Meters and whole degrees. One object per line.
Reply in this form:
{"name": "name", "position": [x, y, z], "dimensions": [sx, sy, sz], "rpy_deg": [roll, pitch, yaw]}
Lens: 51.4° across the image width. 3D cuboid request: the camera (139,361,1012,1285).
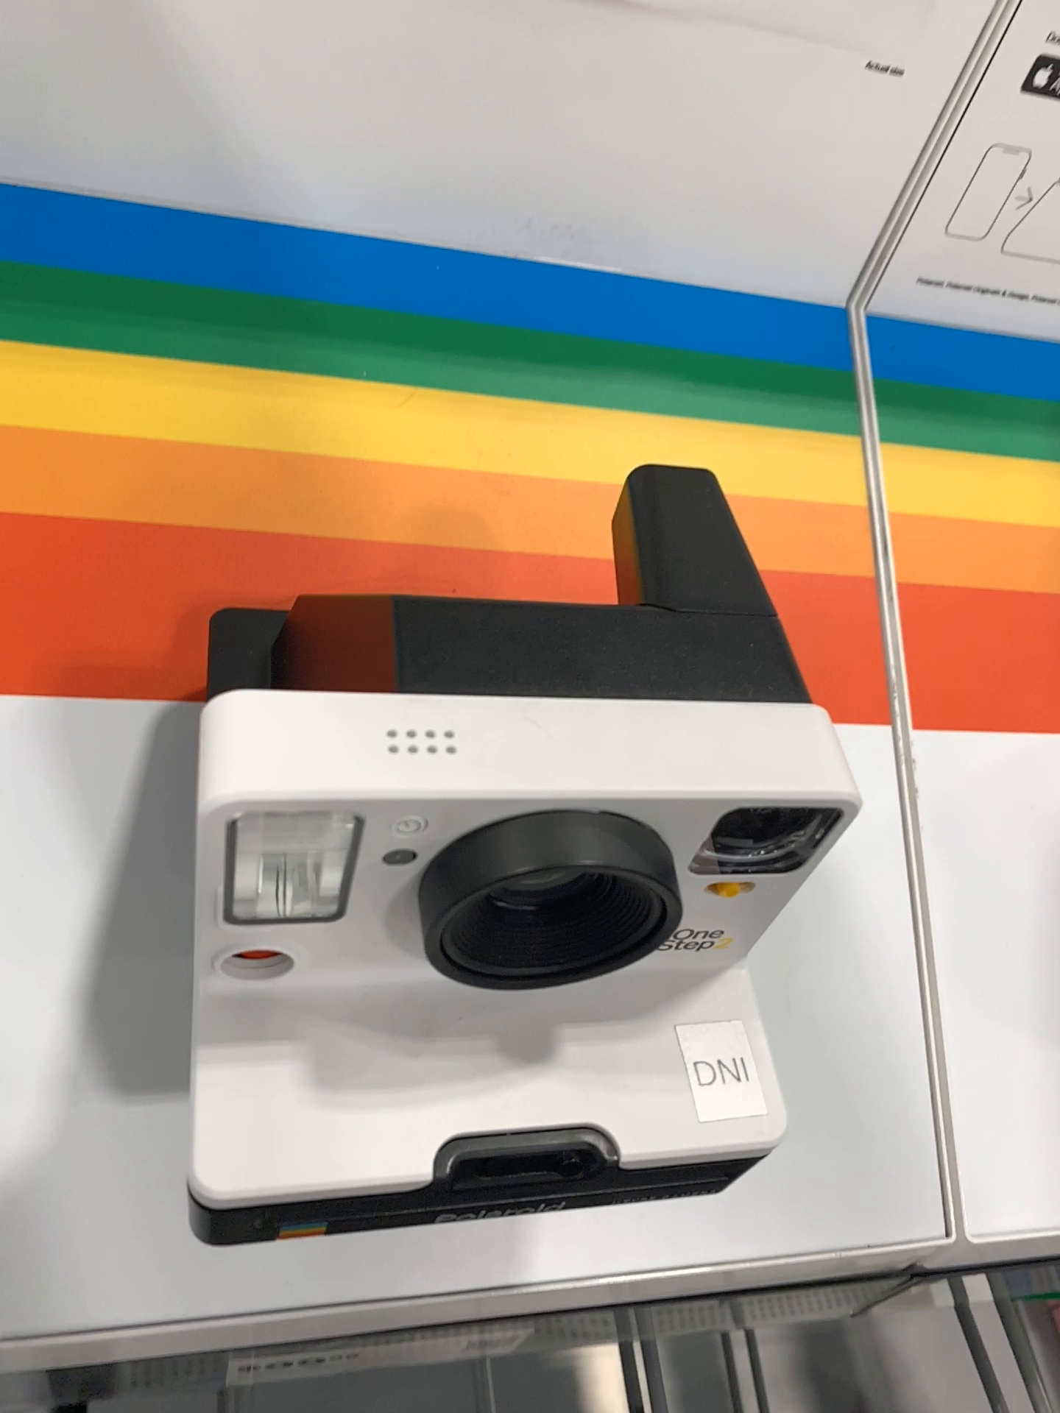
{"name": "camera", "position": [-0.009, 0.019, 0.221], "dimensions": [0.120, 0.090, 0.145], "rpy_deg": [1, 52, -16]}
